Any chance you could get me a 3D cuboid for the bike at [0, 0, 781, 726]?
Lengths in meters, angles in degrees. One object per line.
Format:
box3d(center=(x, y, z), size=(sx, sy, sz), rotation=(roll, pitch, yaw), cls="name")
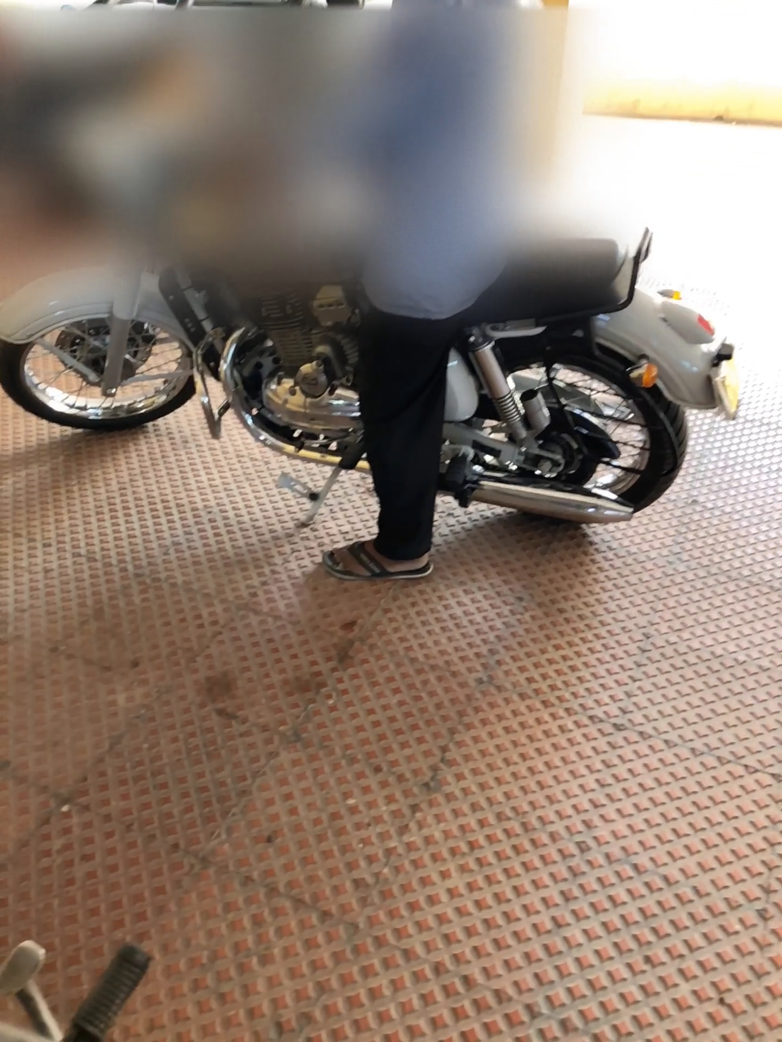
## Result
box3d(center=(-0.267, -0.454, 1.950), size=(1.897, 1.233, 0.850), rotation=(9, 35, 12), cls="bike")
